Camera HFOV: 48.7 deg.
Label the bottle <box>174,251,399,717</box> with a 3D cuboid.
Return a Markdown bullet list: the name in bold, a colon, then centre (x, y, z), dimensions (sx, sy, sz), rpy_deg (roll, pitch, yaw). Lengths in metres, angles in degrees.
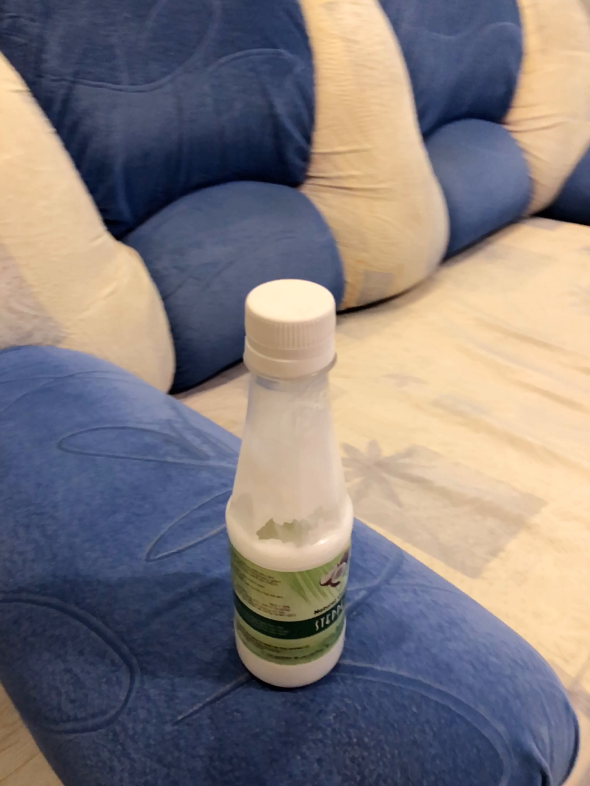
- **bottle**: centre (-0.003, 0.044, 0.262), dimensions (0.054, 0.183, 0.051), rpy_deg (0, 33, 0)
